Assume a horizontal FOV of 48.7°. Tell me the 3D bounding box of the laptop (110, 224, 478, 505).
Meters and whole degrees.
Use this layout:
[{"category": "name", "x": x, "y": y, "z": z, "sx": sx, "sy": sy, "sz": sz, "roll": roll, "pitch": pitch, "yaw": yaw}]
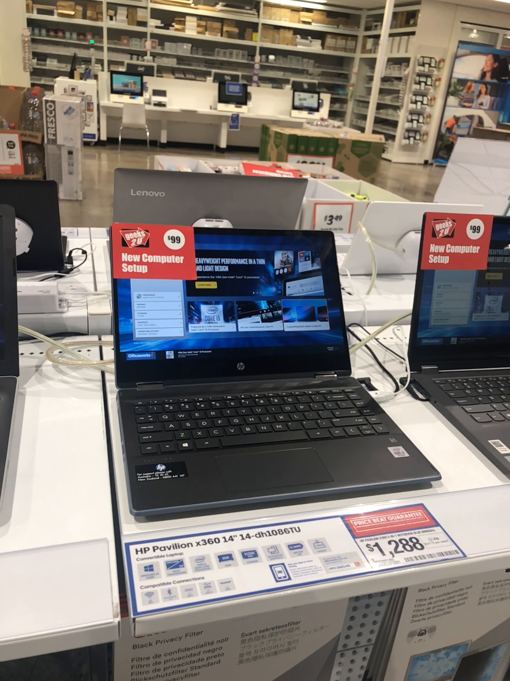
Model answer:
[{"category": "laptop", "x": 0.002, "y": -0.007, "z": 0.663, "sx": 0.315, "sy": 0.165, "sz": 0.350, "roll": -2, "pitch": 25, "yaw": -17}]
